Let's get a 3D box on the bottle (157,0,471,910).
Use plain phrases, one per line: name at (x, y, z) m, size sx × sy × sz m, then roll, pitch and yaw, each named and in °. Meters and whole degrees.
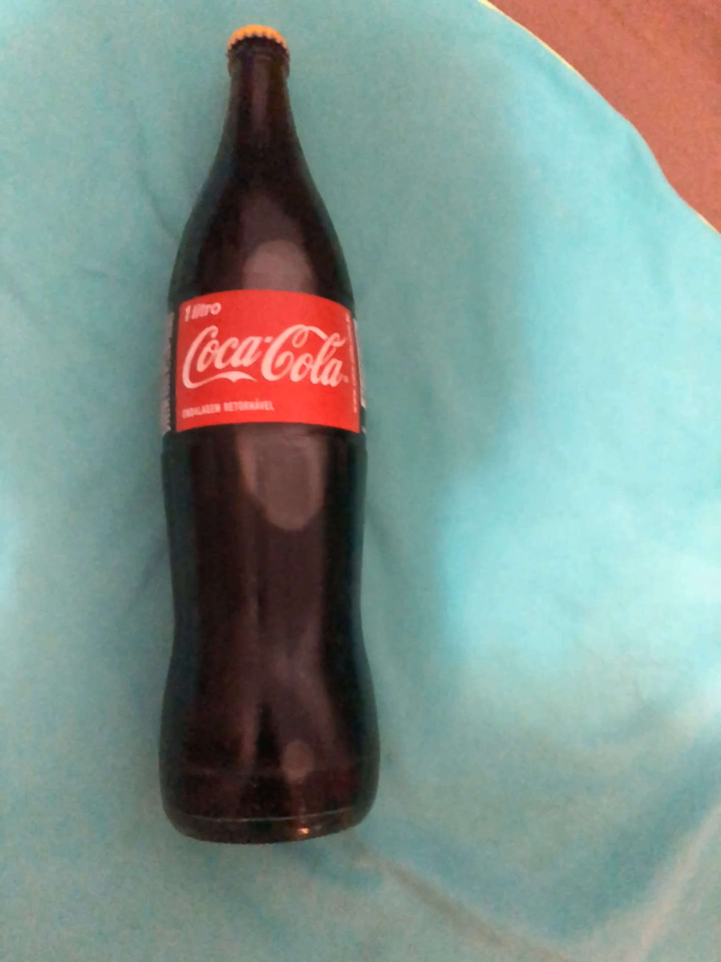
bottle at (-0.028, -0.038, 0.326) m, size 0.100 × 0.070 × 0.360 m, roll 1°, pitch 80°, yaw -19°
